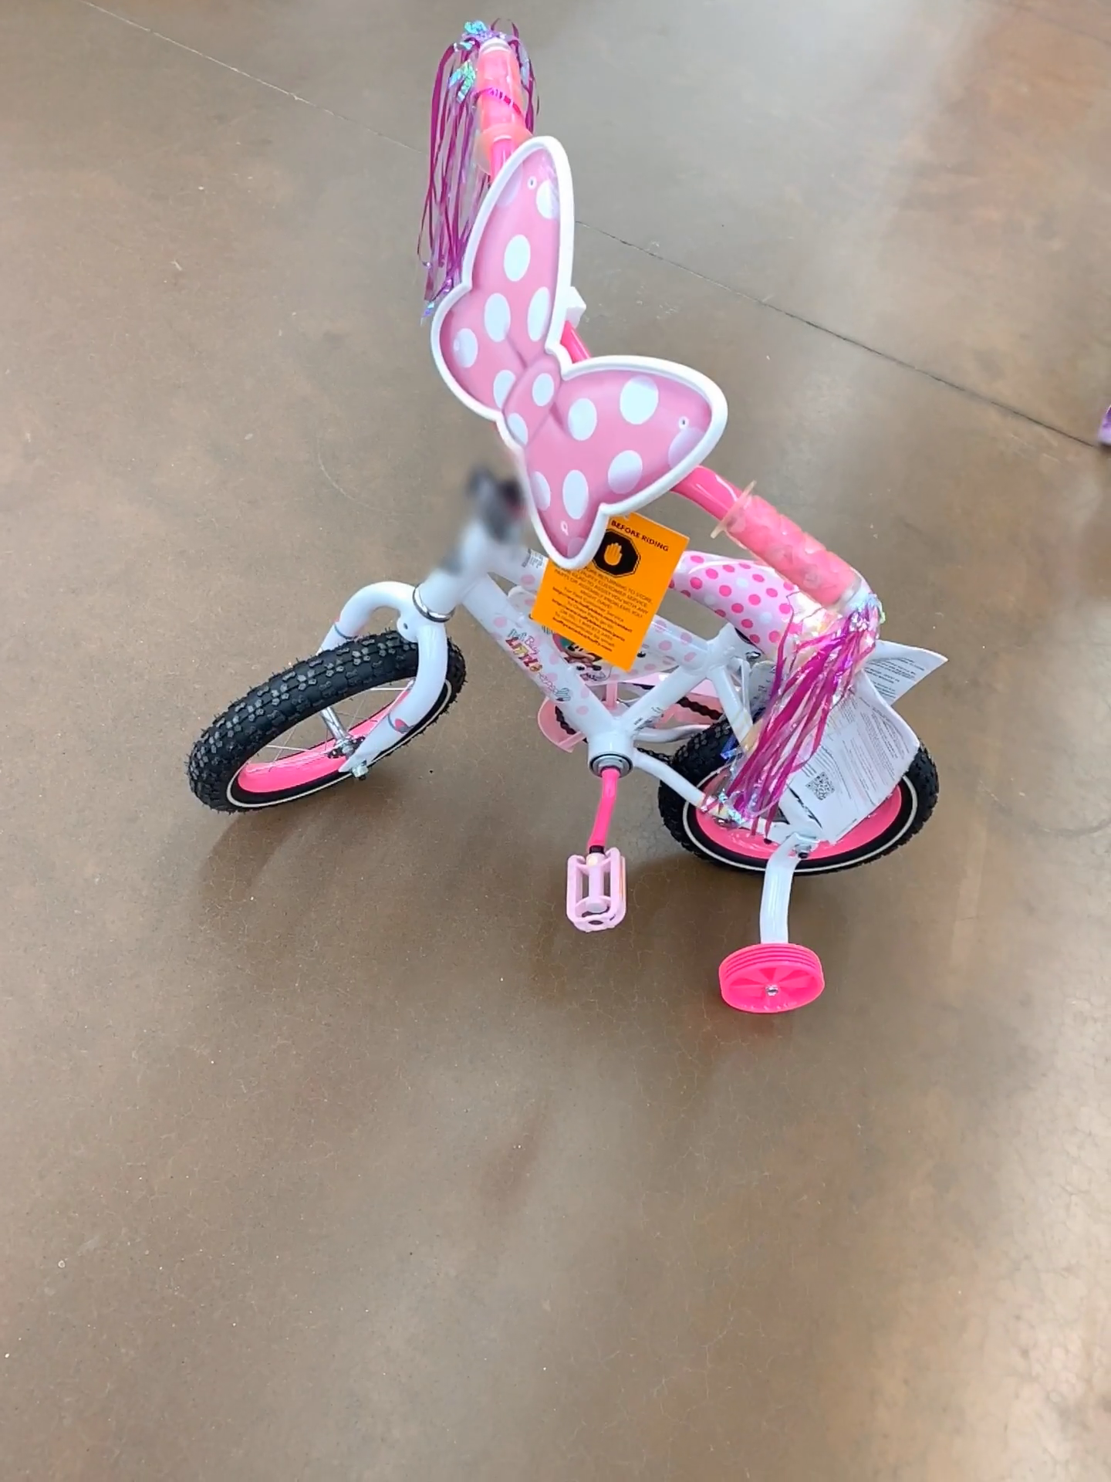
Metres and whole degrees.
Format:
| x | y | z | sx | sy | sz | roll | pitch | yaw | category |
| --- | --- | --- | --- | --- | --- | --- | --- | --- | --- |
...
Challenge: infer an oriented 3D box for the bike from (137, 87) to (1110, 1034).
| x | y | z | sx | sy | sz | roll | pitch | yaw | category |
| --- | --- | --- | --- | --- | --- | --- | --- | --- | --- |
| 0.063 | -0.083 | 1.033 | 0.776 | 0.708 | 0.429 | 3 | 52 | -10 | bike |
